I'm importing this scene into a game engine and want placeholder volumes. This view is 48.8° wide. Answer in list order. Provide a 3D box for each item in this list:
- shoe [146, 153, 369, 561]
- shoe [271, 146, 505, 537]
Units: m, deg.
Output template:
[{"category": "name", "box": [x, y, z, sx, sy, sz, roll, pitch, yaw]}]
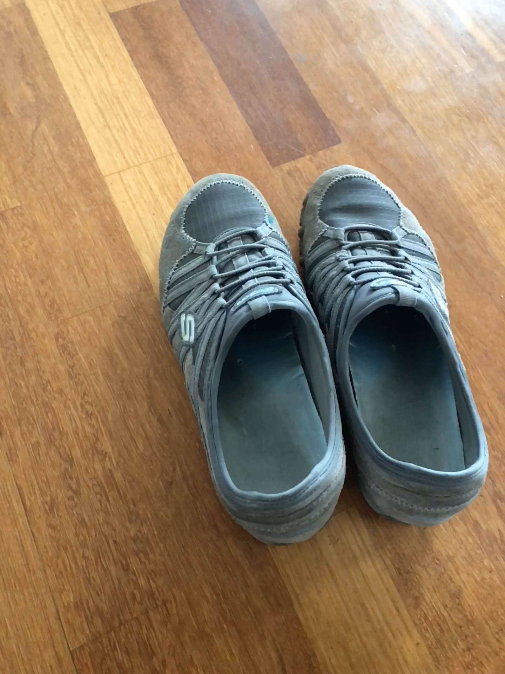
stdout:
[{"category": "shoe", "box": [-0.008, 0.013, 0.395, 0.096, 0.106, 0.253, -8, 71, -7]}, {"category": "shoe", "box": [0.087, 0.004, 0.400, 0.093, 0.106, 0.250, -8, 71, -7]}]
